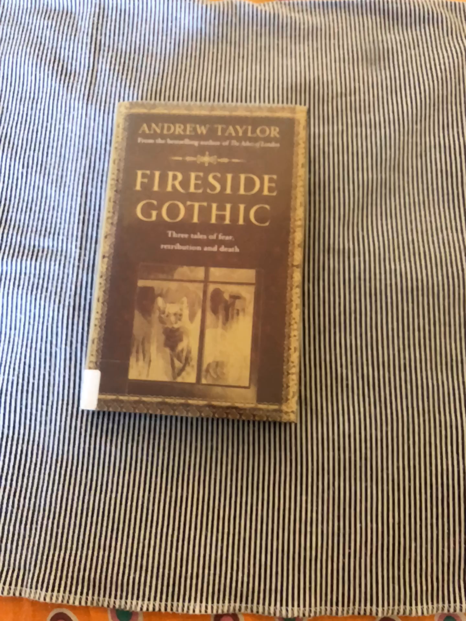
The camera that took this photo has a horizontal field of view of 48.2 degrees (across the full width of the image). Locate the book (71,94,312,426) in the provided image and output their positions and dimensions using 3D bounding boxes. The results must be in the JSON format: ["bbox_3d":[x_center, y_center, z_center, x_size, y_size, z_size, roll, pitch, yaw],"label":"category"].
[{"bbox_3d":[-0.021,-0.038,0.347,0.139,0.027,0.216,3,77,1],"label":"book"}]
